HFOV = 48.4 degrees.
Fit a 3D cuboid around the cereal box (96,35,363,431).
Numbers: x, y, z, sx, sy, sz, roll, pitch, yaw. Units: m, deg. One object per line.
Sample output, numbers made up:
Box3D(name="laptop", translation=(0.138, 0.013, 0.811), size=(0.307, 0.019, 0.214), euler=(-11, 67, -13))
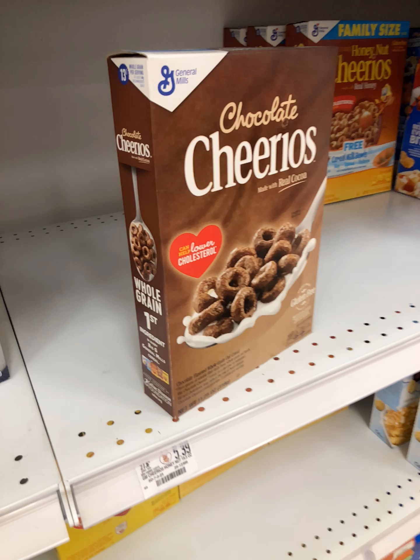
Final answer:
Box3D(name="cereal box", translation=(0.026, -0.043, 0.400), size=(0.200, 0.289, 0.060), euler=(-23, 36, -34))
